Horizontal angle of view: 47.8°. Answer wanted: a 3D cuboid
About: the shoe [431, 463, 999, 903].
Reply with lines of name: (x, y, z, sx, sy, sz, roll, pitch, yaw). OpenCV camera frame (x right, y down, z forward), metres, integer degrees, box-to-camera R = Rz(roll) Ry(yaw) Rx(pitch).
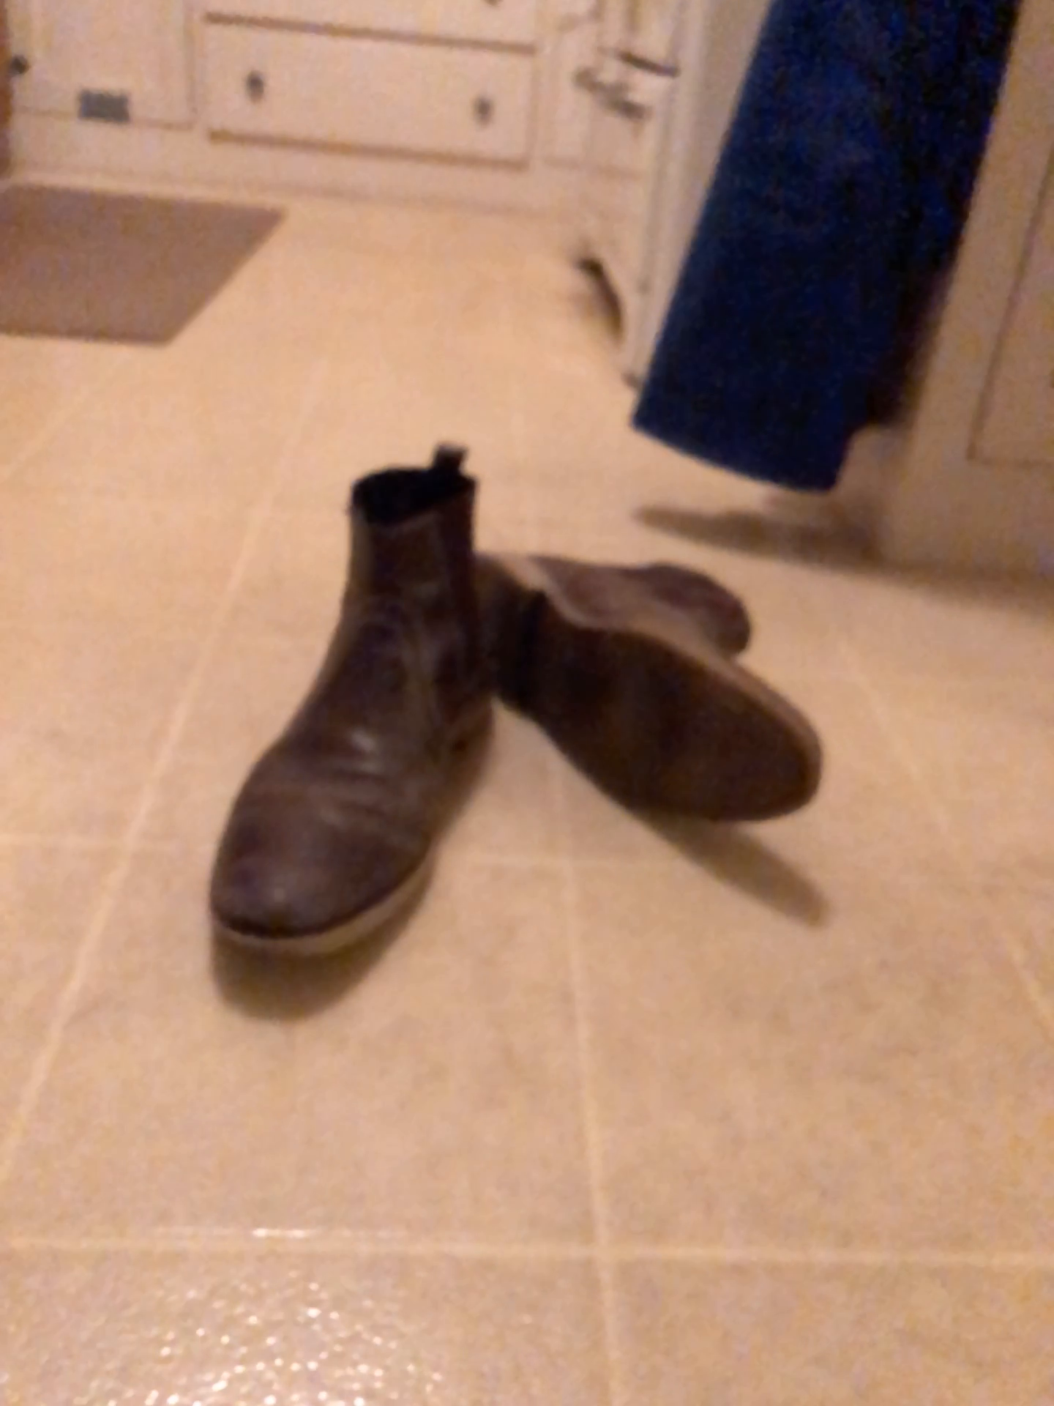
shoe: (0.093, -0.035, 0.727, 0.162, 0.111, 0.314, -13, 35, -32)

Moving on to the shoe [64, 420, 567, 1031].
shoe: (-0.083, -0.015, 0.607, 0.111, 0.160, 0.315, 13, 31, 12)
